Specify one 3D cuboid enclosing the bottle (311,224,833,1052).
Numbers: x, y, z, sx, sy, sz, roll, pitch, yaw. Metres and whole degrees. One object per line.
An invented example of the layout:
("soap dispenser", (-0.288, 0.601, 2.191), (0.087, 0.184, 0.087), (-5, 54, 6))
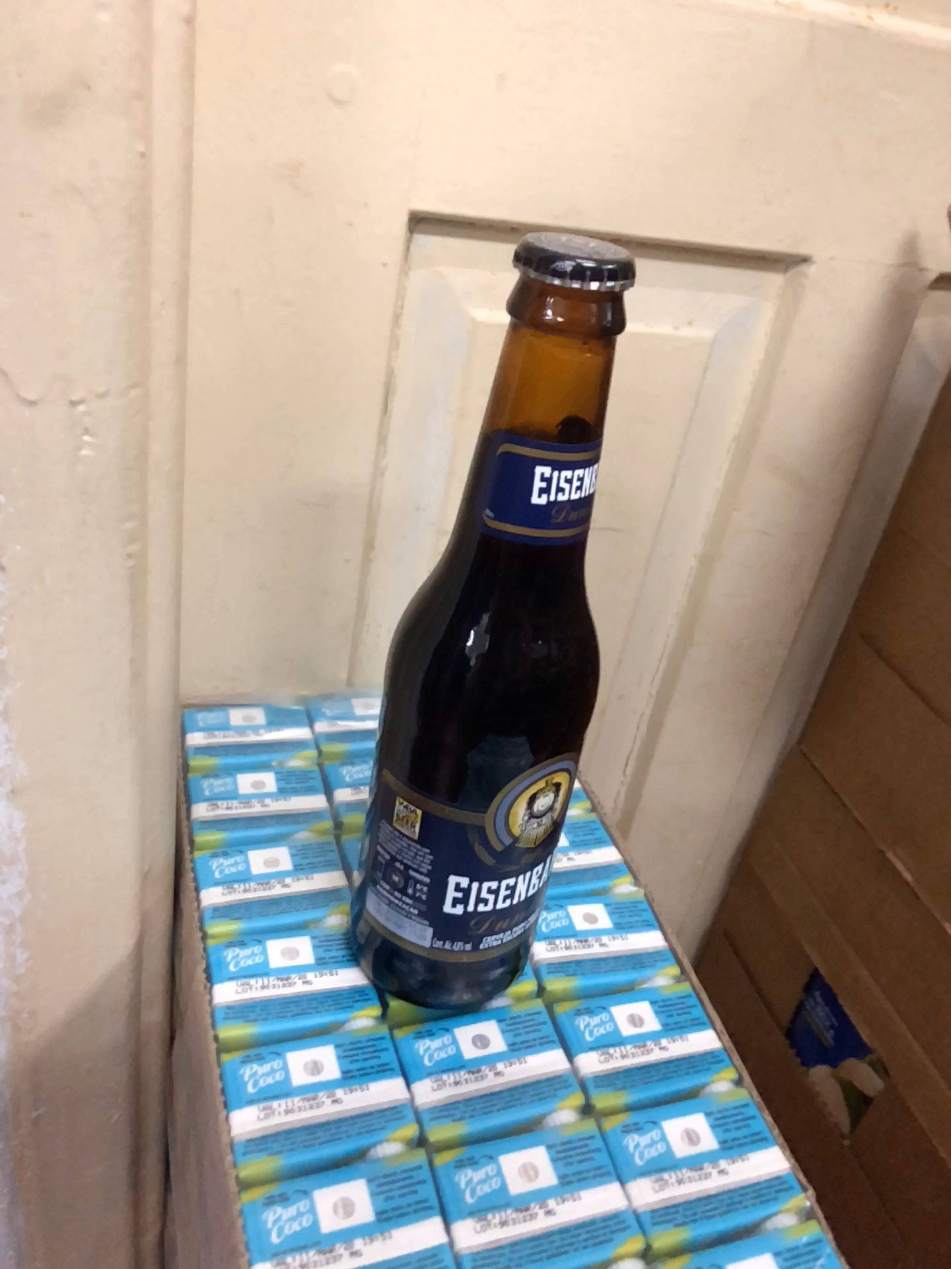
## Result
("bottle", (0.012, 0.007, 0.270), (0.070, 0.198, 0.060), (-15, 41, -35))
